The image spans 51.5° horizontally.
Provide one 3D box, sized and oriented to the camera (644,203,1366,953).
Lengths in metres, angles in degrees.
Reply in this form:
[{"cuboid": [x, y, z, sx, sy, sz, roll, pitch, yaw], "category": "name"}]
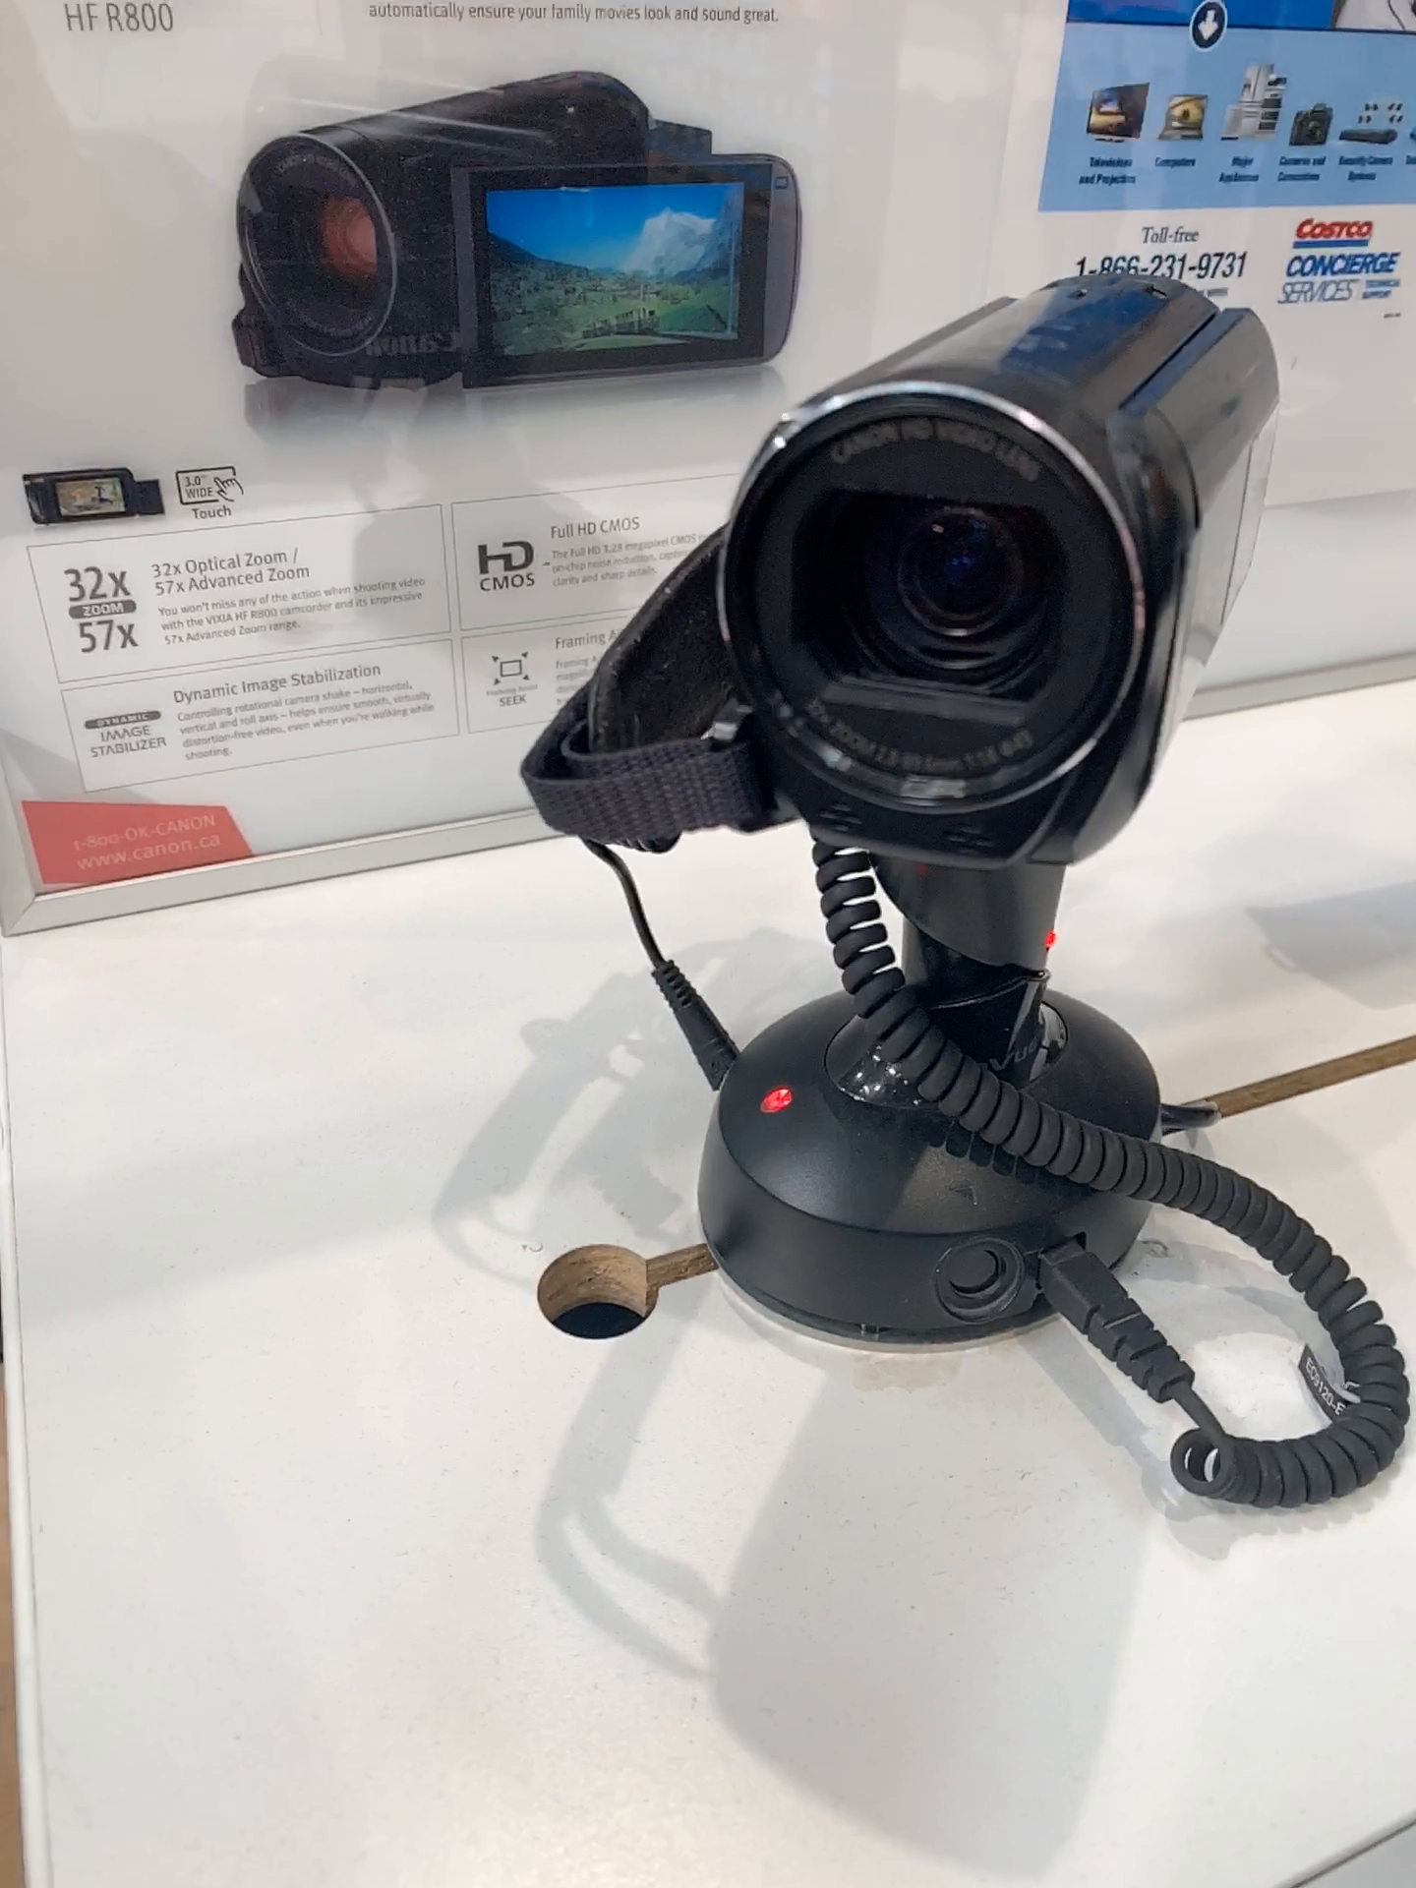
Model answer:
[{"cuboid": [0.043, -0.057, 0.187, 0.058, 0.054, 0.114, 15, 34, 18], "category": "camera"}]
